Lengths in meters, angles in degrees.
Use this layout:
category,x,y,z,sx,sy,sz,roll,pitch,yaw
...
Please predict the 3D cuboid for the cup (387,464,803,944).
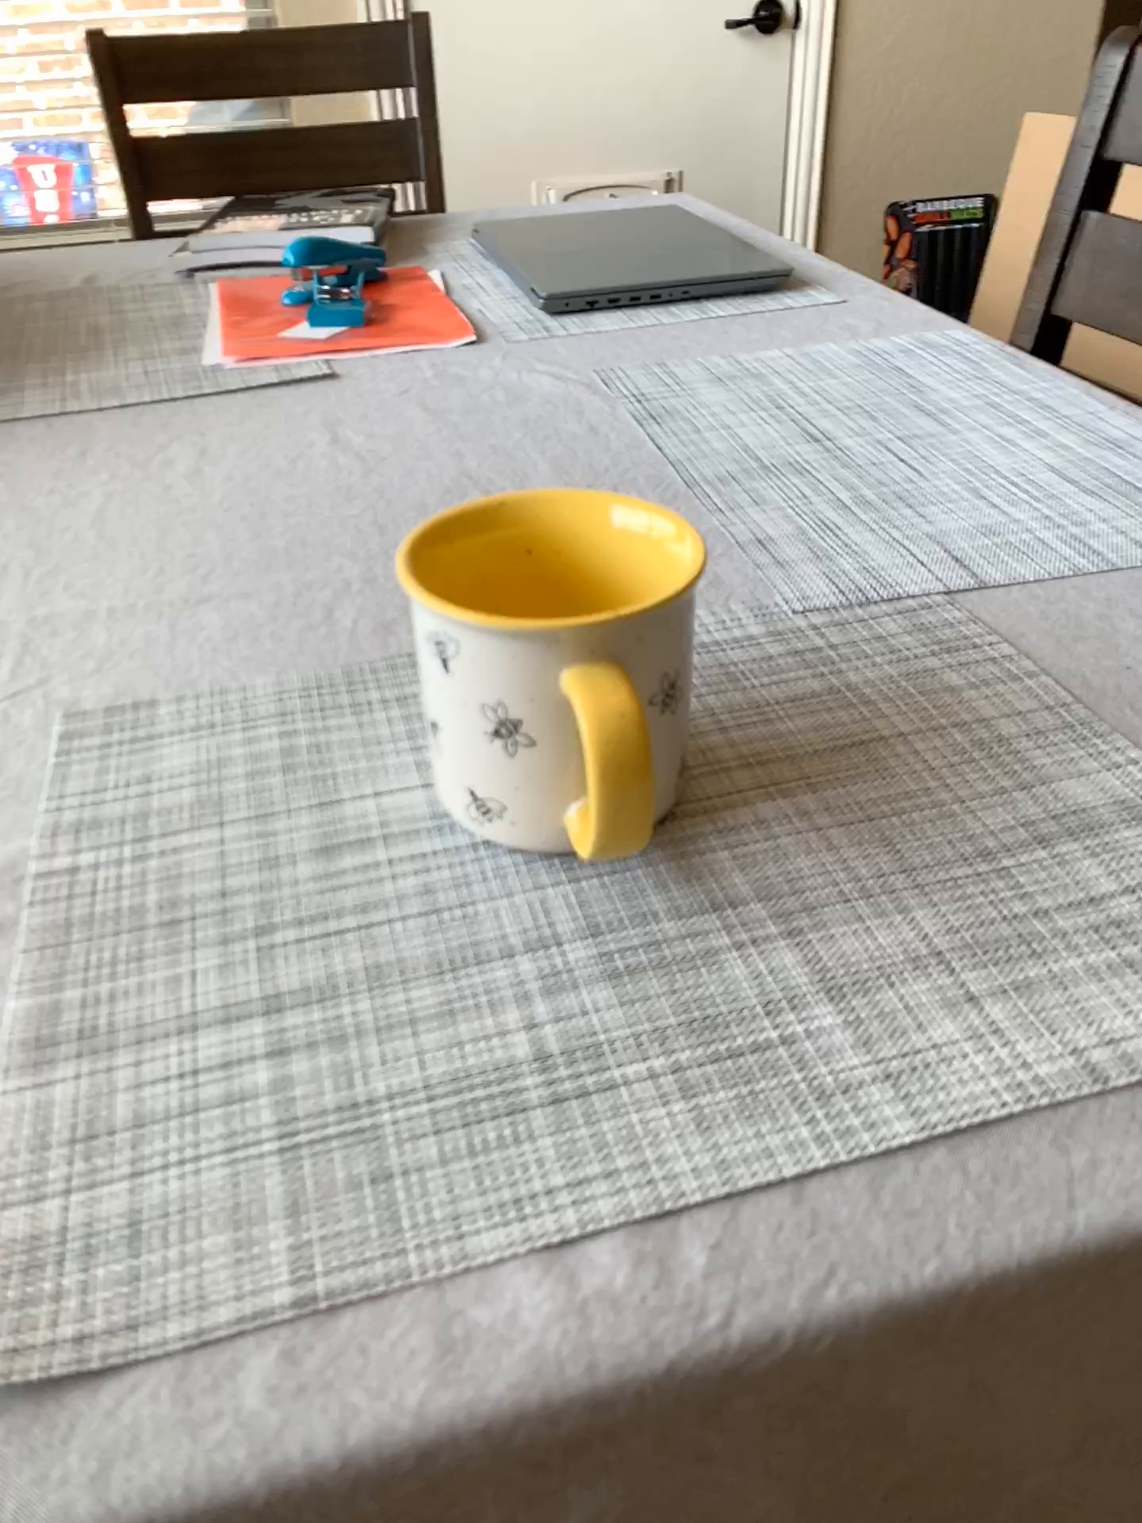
category,x,y,z,sx,sy,sz,roll,pitch,yaw
cup,0.002,-0.028,0.426,0.113,0.107,0.137,-9,35,-9
